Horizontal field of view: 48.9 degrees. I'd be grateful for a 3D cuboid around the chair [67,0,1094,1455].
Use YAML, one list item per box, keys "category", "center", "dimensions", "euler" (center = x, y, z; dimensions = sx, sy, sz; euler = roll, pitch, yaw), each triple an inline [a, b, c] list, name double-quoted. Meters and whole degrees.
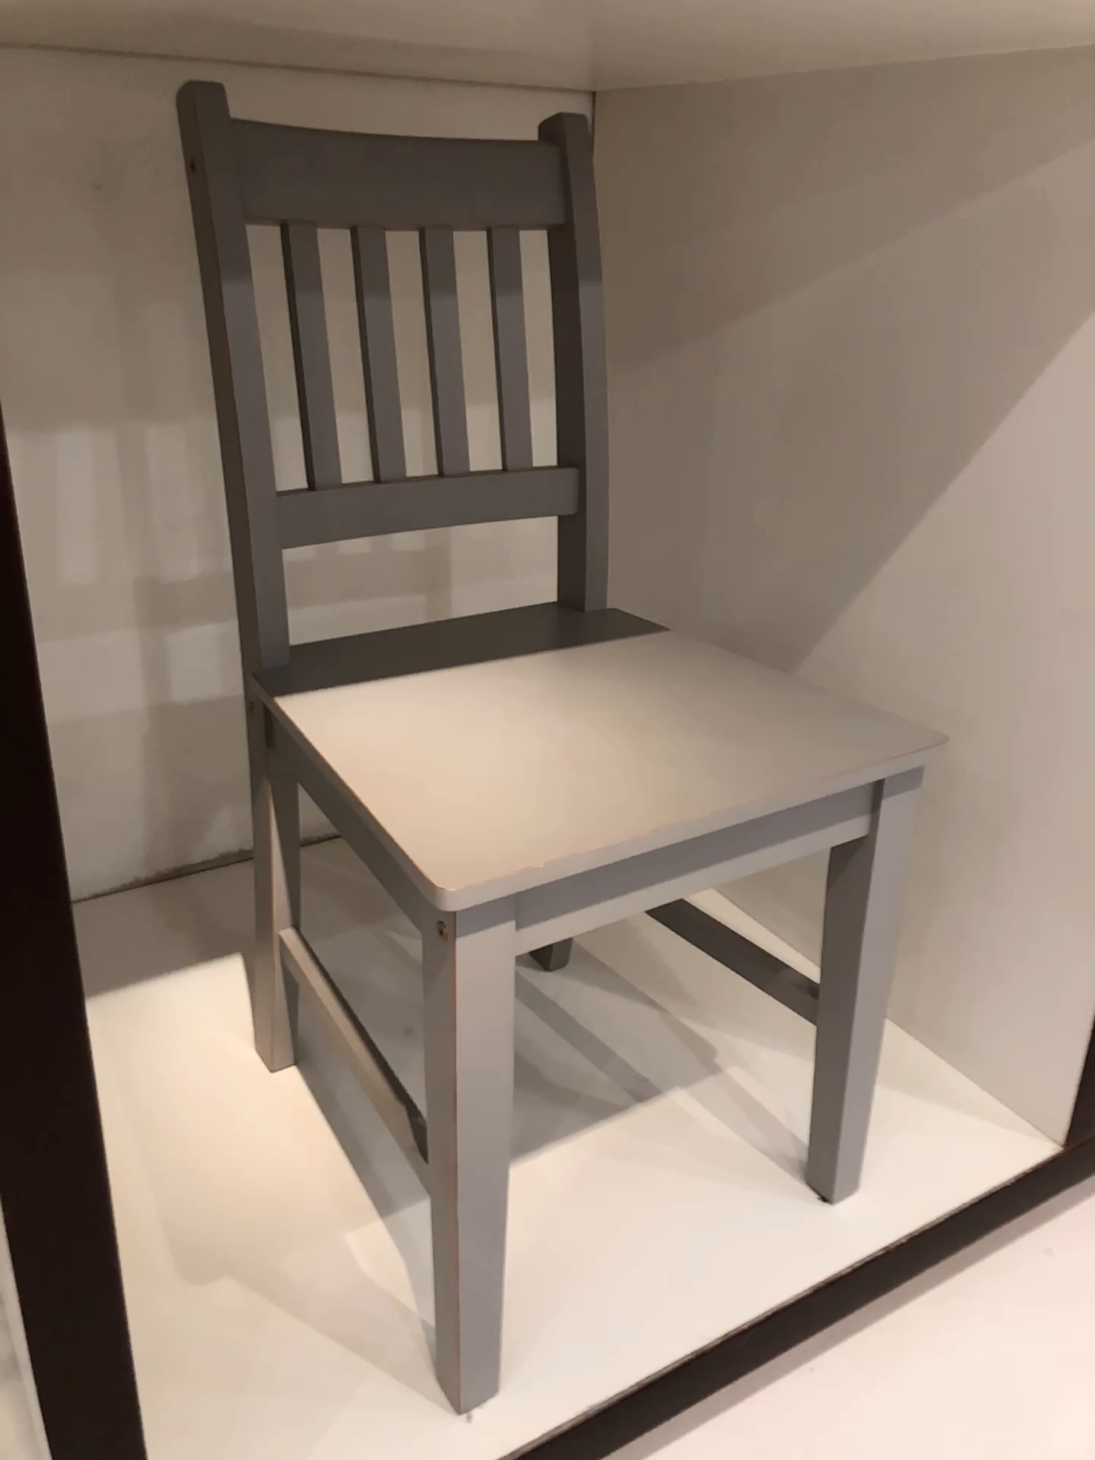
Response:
- category: "chair"
  center: [-0.028, -0.059, 0.982]
  dimensions: [0.461, 0.864, 0.583]
  euler: [-13, 27, -31]
